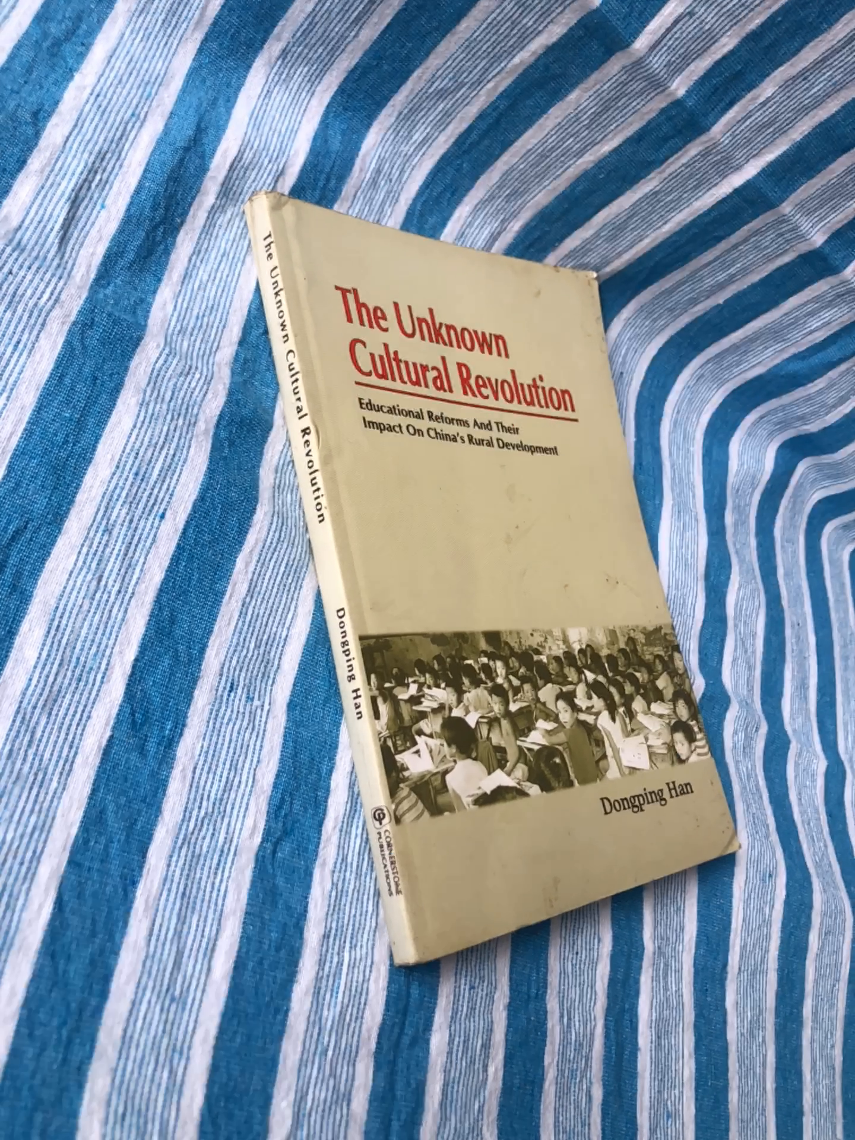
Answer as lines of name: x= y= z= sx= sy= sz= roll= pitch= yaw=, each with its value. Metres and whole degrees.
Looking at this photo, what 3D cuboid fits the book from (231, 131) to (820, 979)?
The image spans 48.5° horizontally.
book: x=0.029 y=-0.017 z=0.286 sx=0.141 sy=0.020 sz=0.230 roll=-1 pitch=69 yaw=-34
